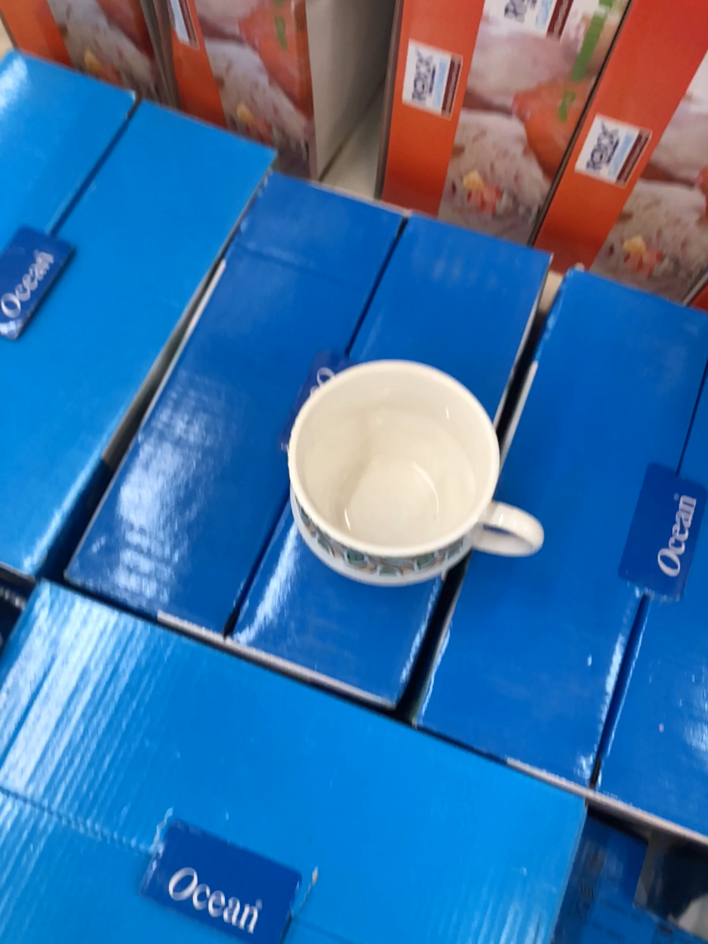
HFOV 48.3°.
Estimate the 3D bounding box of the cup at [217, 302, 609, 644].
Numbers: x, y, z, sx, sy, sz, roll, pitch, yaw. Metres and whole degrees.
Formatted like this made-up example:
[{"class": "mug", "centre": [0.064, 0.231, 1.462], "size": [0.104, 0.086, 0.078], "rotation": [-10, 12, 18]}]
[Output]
[{"class": "cup", "centre": [0.018, 0.003, 0.264], "size": [0.100, 0.060, 0.070], "rotation": [20, 72, 4]}]
